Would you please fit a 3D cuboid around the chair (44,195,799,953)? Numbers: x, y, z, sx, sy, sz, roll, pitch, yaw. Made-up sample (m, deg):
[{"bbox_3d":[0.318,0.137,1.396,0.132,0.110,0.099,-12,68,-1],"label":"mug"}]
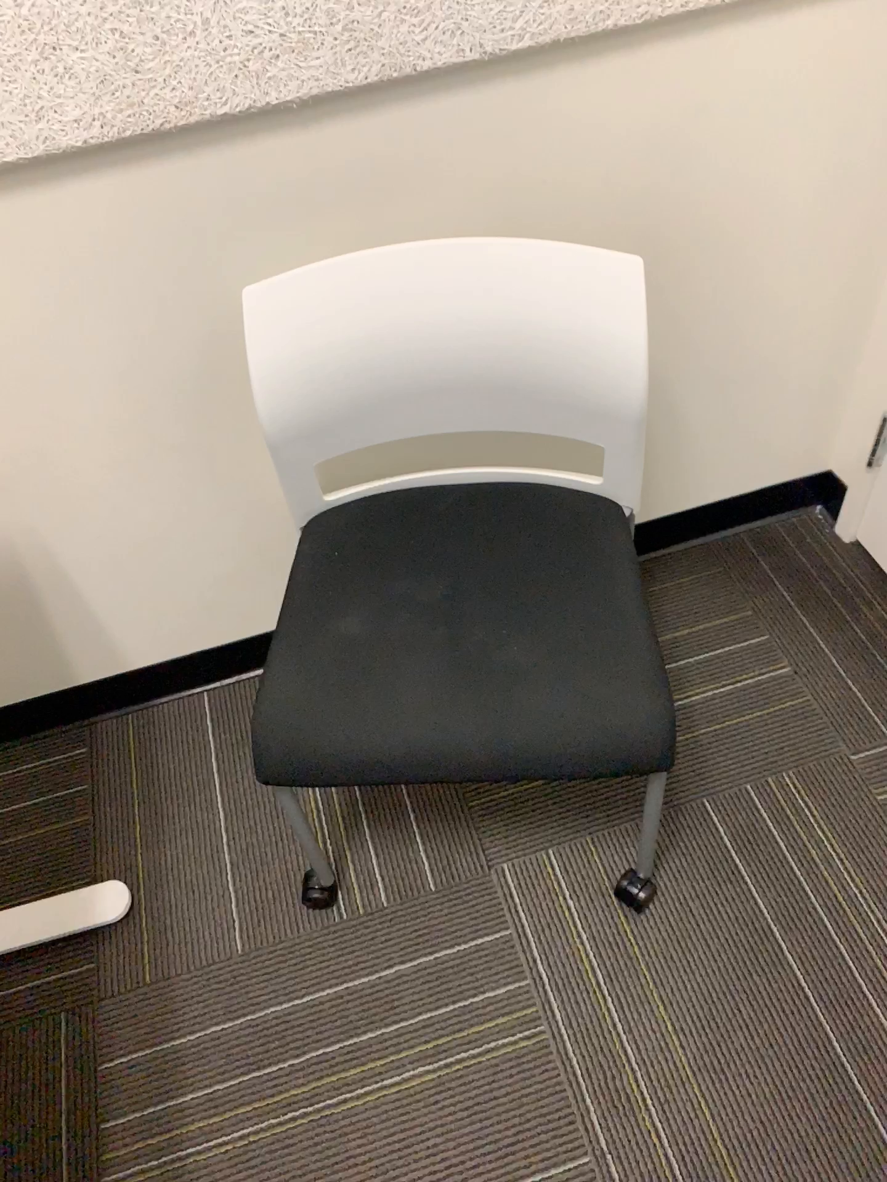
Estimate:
[{"bbox_3d":[0.002,0.022,1.238,0.620,0.776,0.623,-5,49,3],"label":"chair"}]
